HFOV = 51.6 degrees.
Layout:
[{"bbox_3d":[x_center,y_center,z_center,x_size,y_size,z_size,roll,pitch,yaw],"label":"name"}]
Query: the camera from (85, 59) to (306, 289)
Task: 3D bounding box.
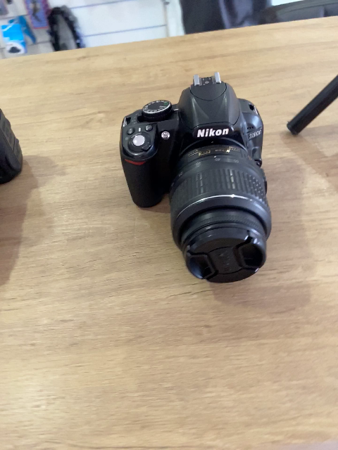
[{"bbox_3d":[0.018,-0.051,0.299,0.130,0.090,0.181,-5,47,5],"label":"camera"}]
